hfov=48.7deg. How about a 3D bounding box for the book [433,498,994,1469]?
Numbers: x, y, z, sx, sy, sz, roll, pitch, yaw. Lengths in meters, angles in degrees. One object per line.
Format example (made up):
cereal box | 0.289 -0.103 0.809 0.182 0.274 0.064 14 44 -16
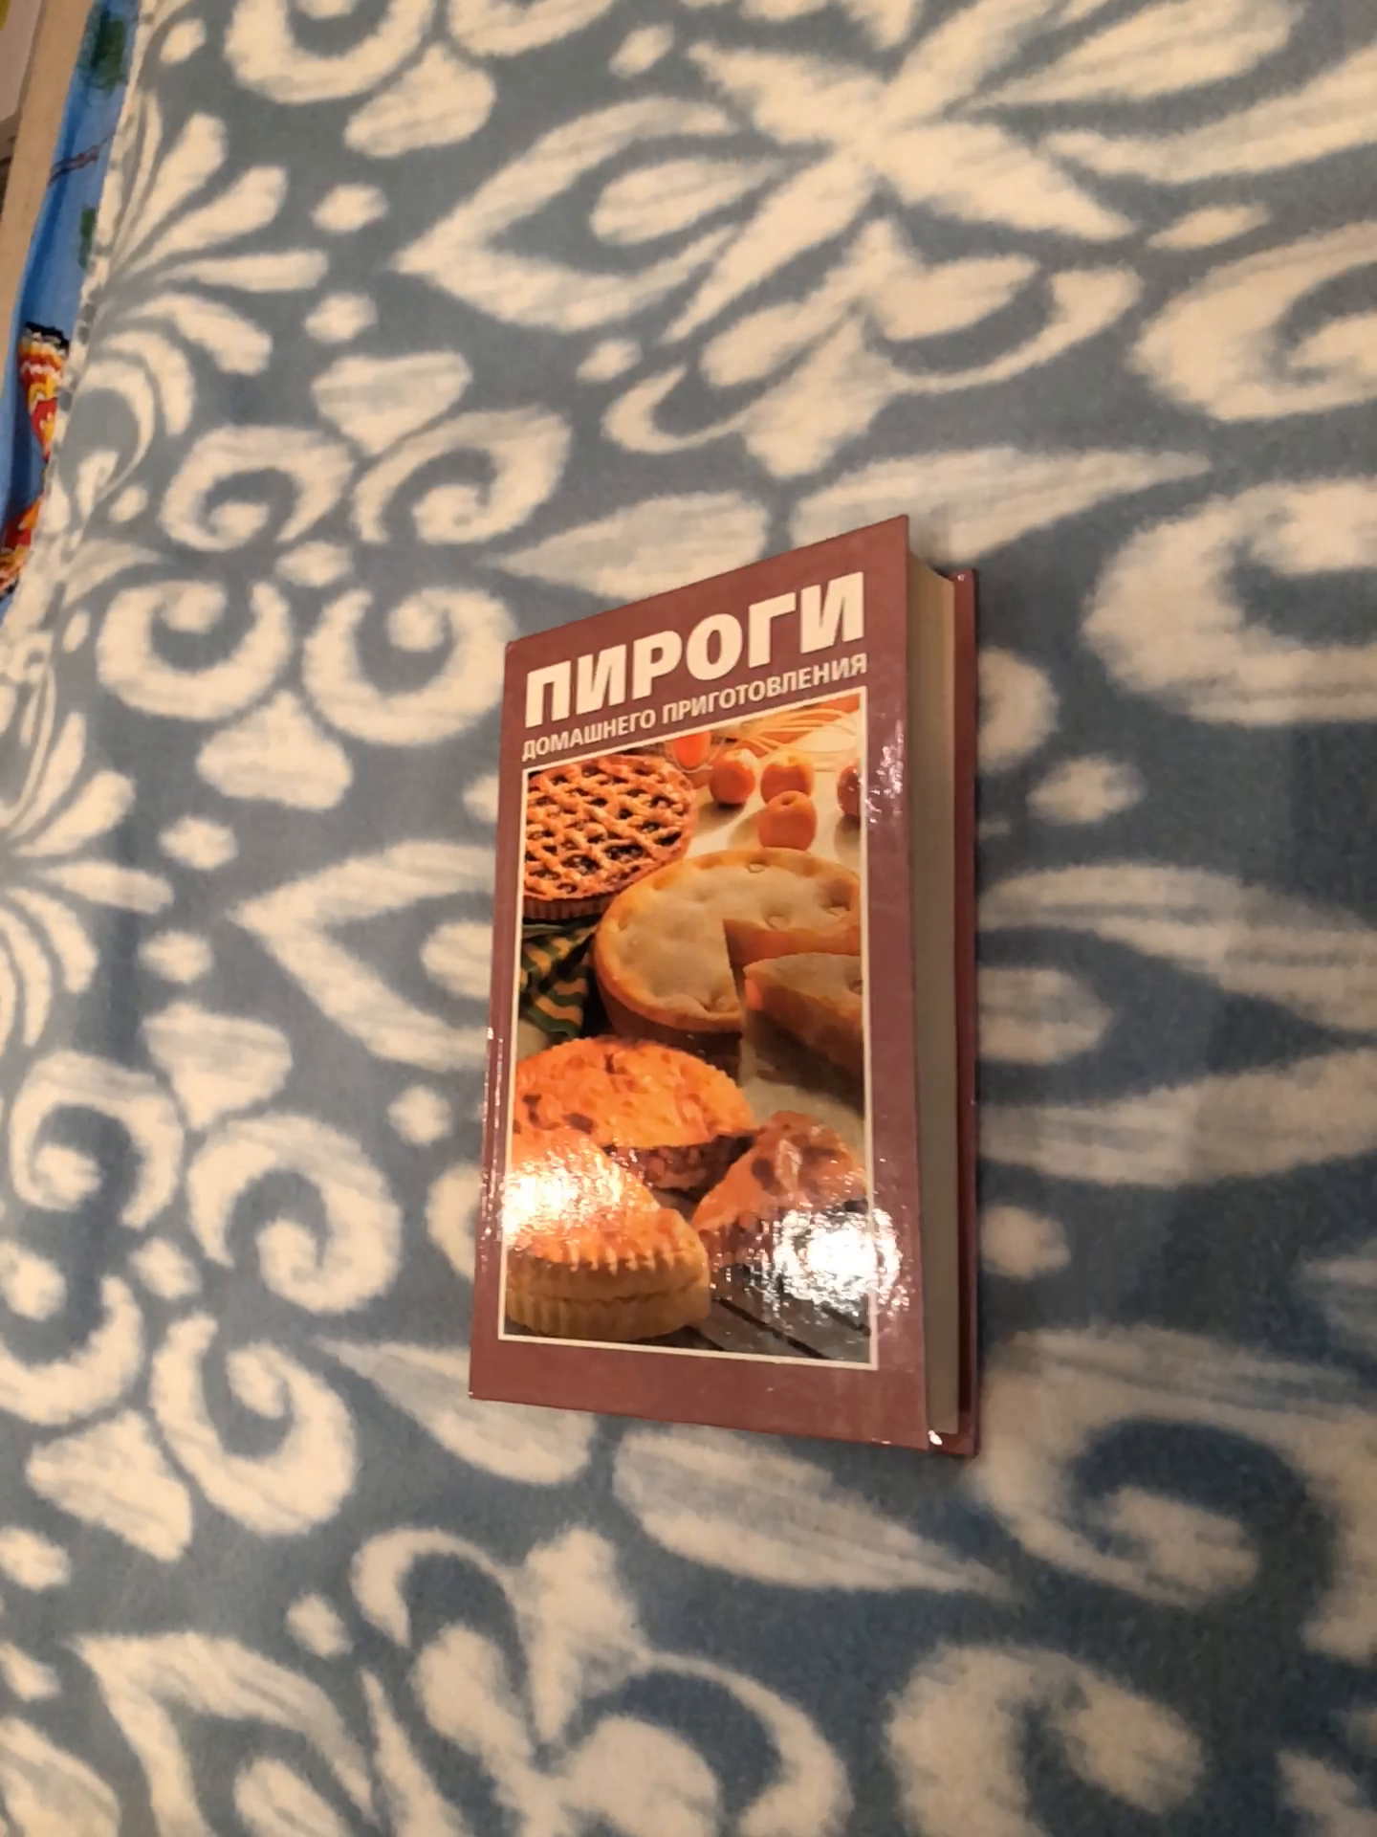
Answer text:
book | 0.003 0.017 0.367 0.131 0.040 0.201 -8 76 38
